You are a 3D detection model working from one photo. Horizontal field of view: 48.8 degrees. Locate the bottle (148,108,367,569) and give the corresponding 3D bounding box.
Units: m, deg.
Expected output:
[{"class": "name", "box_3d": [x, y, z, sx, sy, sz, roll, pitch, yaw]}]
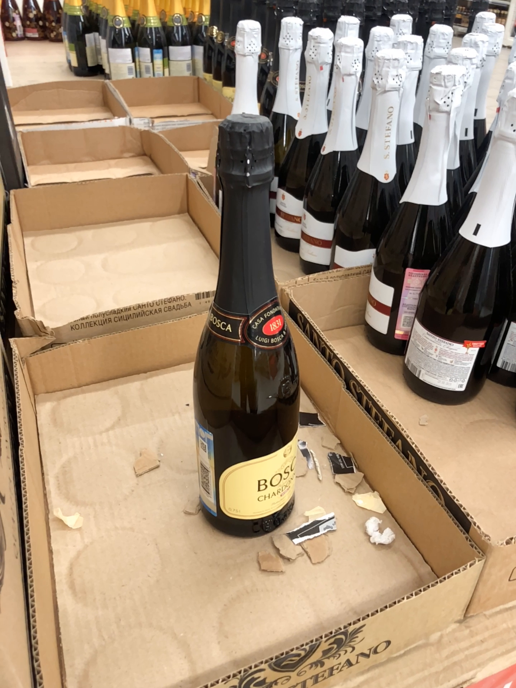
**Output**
[{"class": "bottle", "box_3d": [-0.003, 0.011, 0.398, 0.080, 0.308, 0.090, 29, 43, 34]}]
